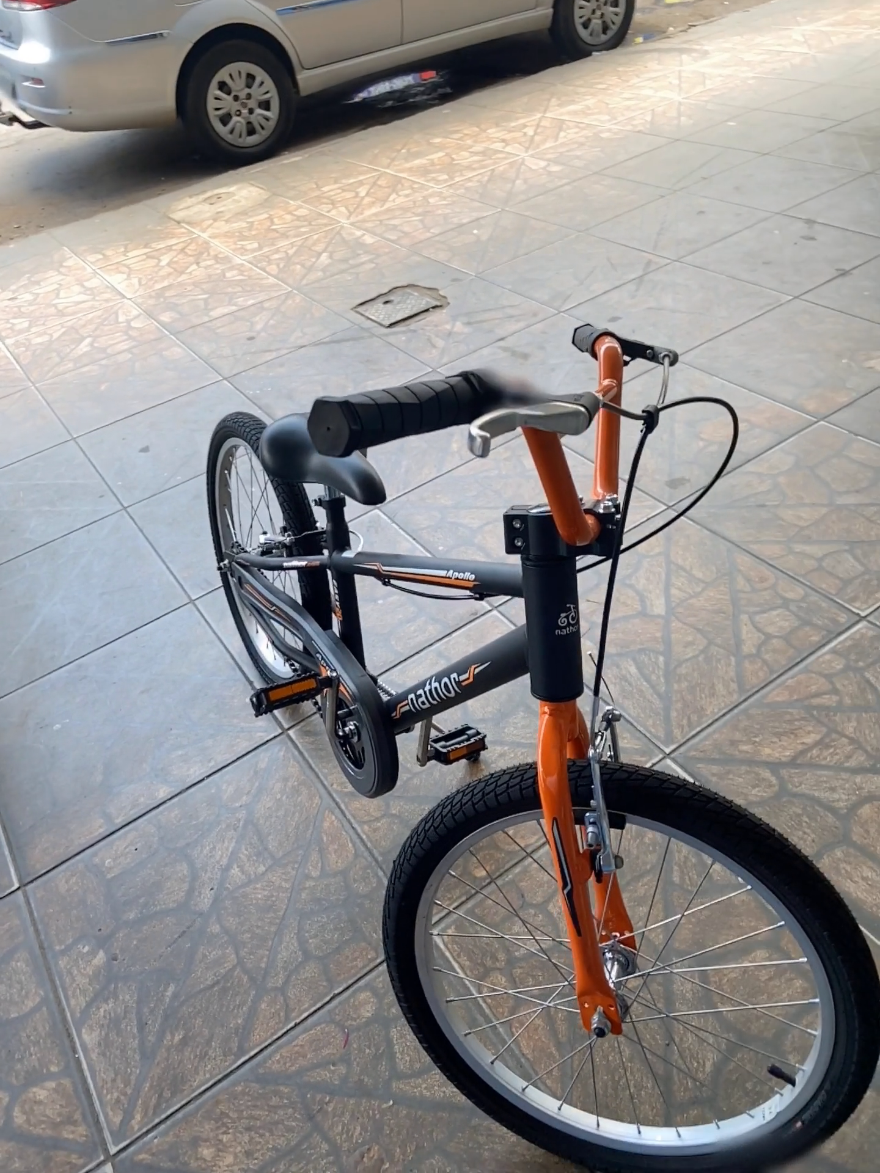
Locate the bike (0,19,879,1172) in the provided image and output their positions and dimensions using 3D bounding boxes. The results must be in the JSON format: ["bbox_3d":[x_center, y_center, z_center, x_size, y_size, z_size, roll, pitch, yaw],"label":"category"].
[{"bbox_3d":[0.000,-0.055,1.177,0.725,0.978,1.354,-34,47,-24],"label":"bike"}]
